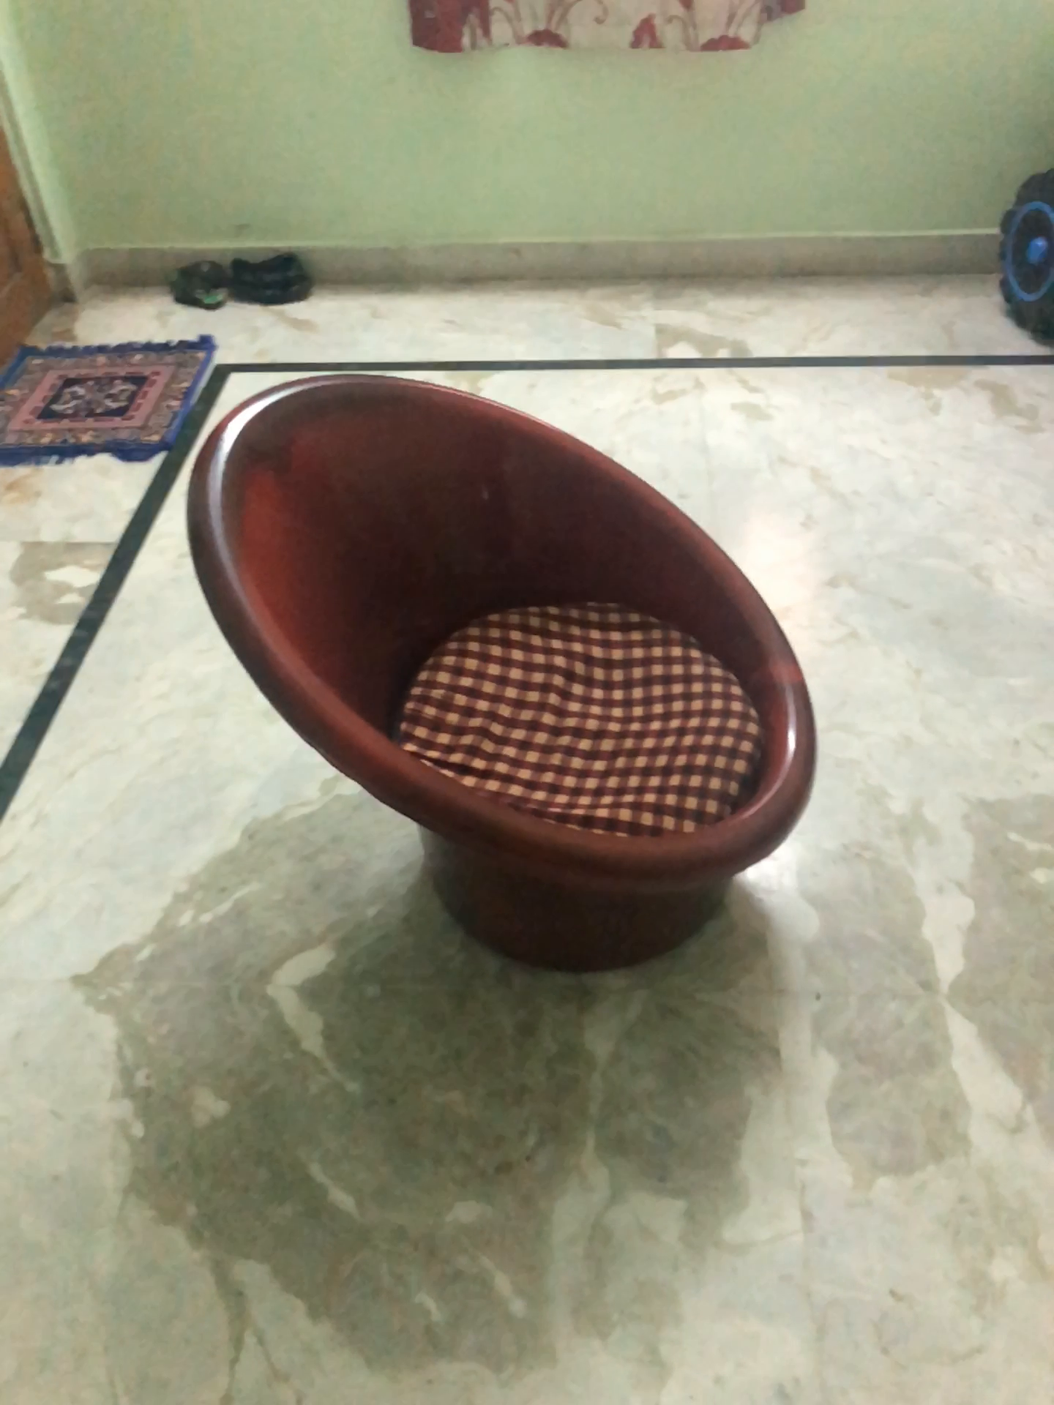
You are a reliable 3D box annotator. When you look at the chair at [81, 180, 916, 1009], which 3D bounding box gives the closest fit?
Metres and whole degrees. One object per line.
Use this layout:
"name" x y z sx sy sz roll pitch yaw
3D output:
"chair" 0.046 -0.162 1.266 0.630 0.547 0.674 7 43 12
